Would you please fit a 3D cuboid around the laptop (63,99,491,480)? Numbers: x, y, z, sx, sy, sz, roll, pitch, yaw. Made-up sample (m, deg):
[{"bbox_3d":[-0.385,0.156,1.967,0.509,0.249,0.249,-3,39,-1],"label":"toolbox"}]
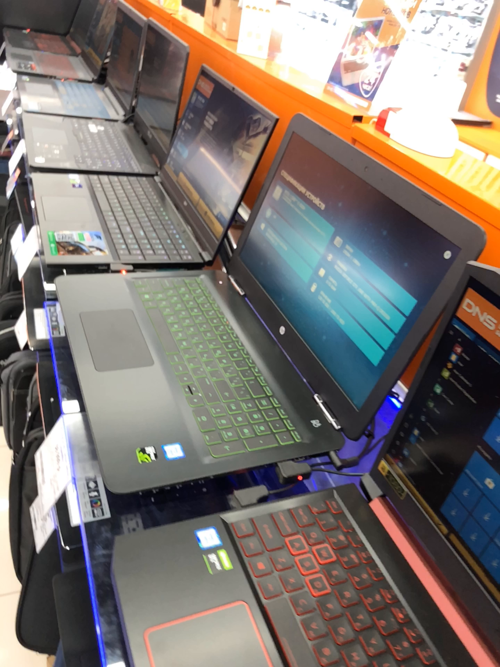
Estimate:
[{"bbox_3d":[-0.020,-0.080,0.617,0.312,0.235,0.359,-4,35,-25],"label":"laptop"}]
